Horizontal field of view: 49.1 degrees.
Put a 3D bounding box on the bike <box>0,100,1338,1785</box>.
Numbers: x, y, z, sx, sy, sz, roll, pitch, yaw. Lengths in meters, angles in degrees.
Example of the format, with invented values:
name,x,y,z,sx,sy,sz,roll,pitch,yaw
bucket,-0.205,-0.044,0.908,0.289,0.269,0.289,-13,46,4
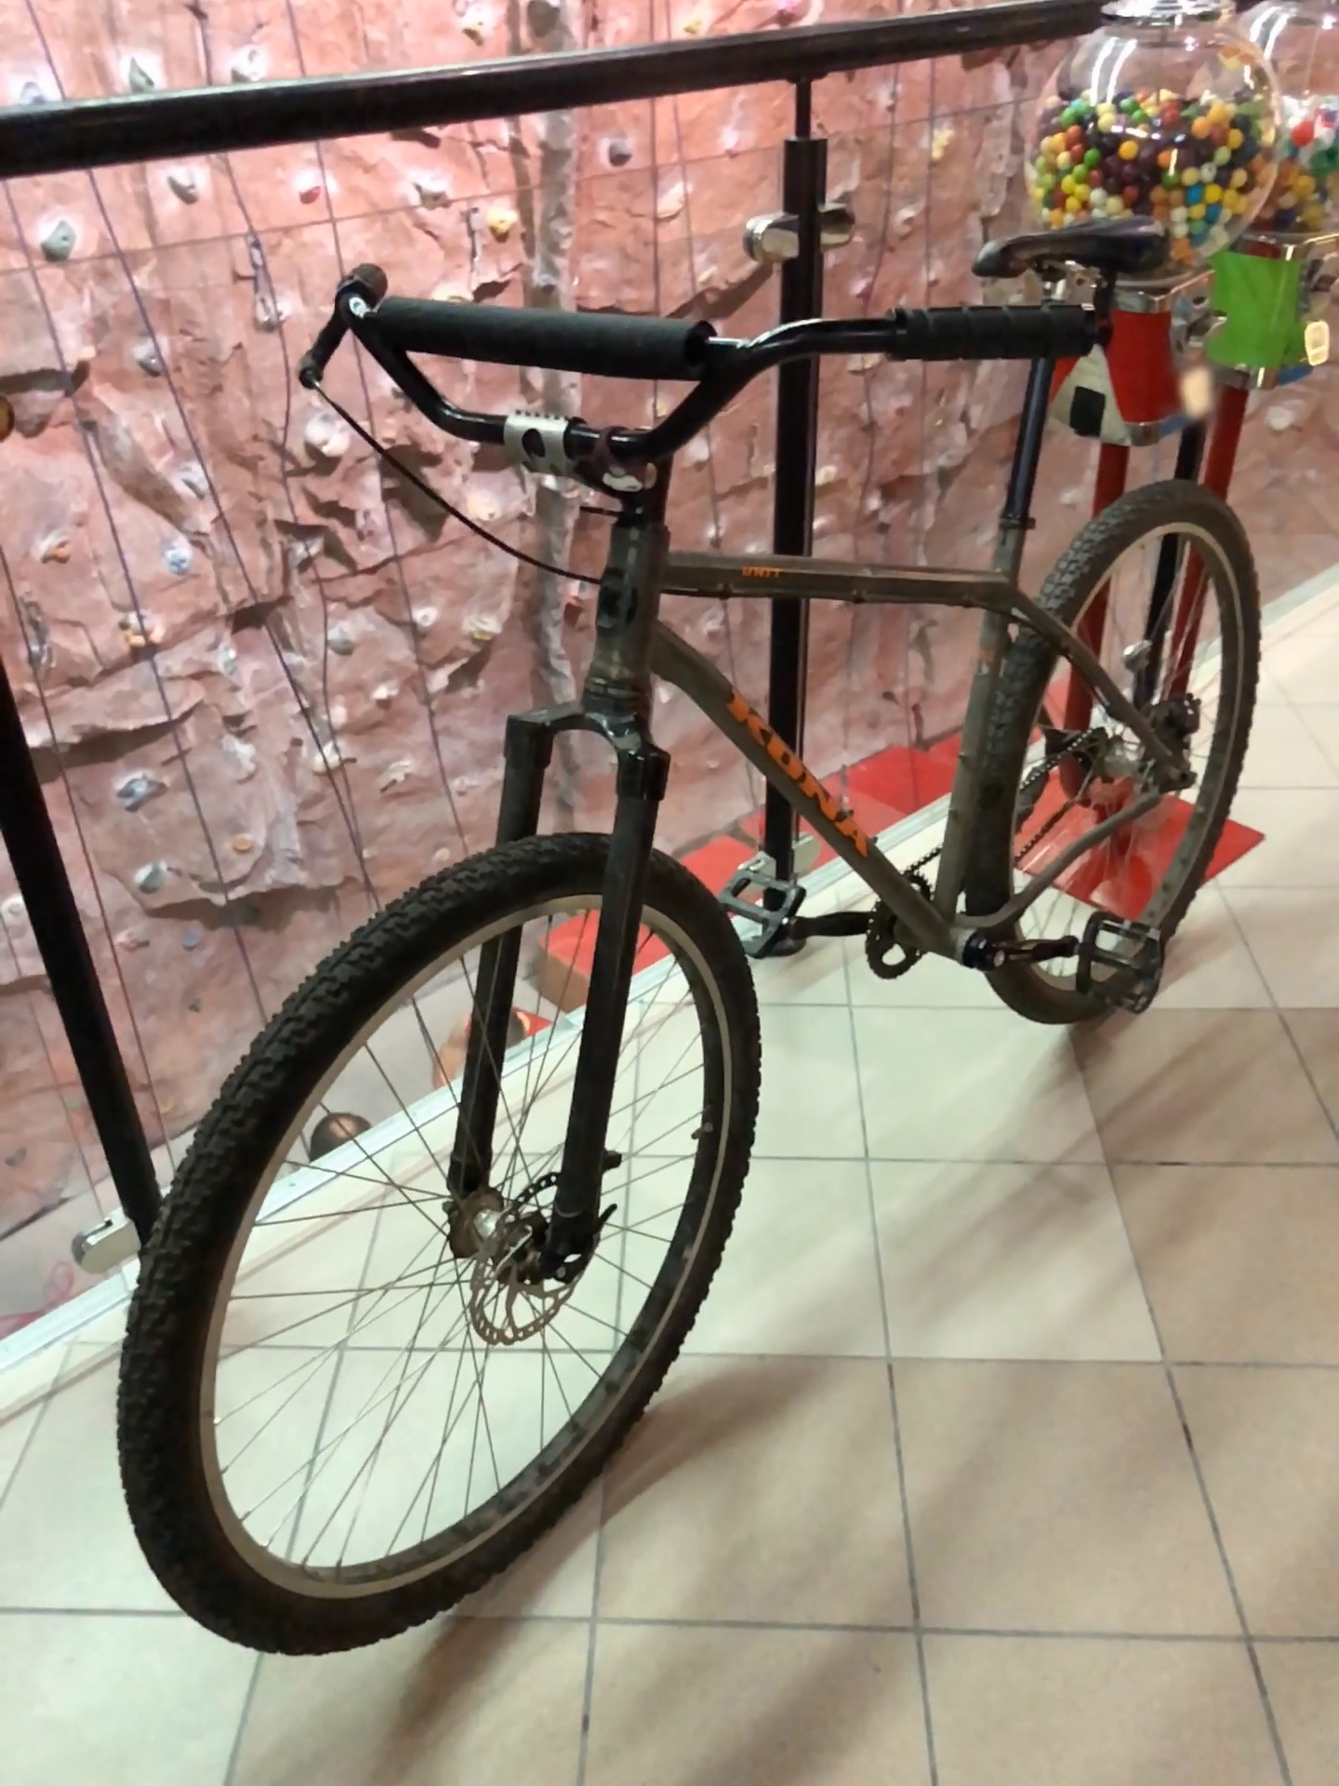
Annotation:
name,x,y,z,sx,sy,sz,roll,pitch,yaw
bike,0.185,-0.157,1.546,0.750,1.099,1.827,26,40,35
